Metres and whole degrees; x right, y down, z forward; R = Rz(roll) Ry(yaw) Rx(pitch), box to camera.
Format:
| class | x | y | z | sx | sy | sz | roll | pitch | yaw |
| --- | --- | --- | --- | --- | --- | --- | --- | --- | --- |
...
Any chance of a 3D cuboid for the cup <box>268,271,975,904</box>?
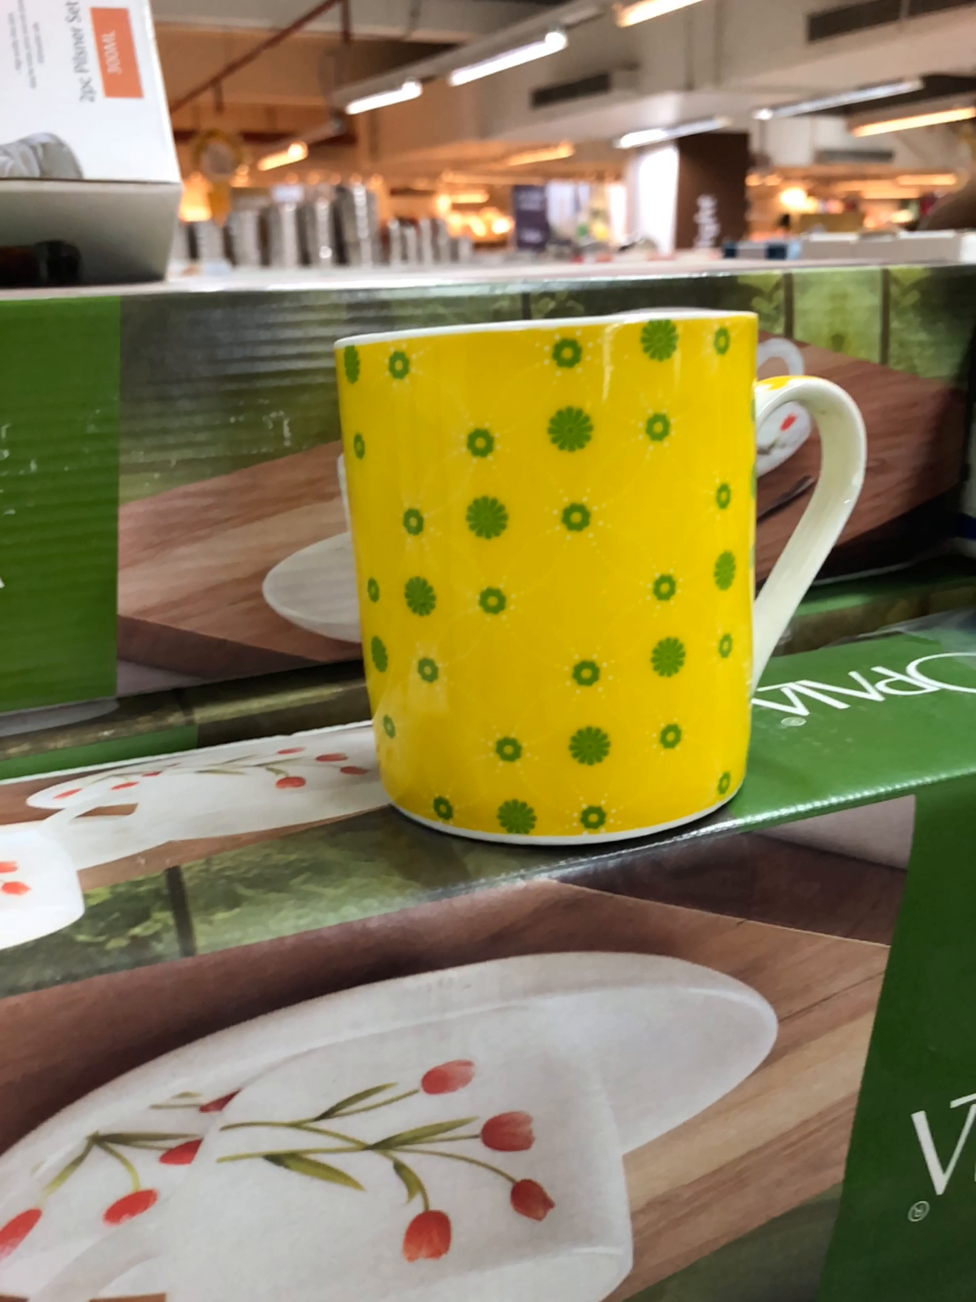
| class | x | y | z | sx | sy | sz | roll | pitch | yaw |
| --- | --- | --- | --- | --- | --- | --- | --- | --- | --- |
| cup | 0.025 | -0.021 | 0.214 | 0.110 | 0.090 | 0.080 | -9 | 14 | -21 |
